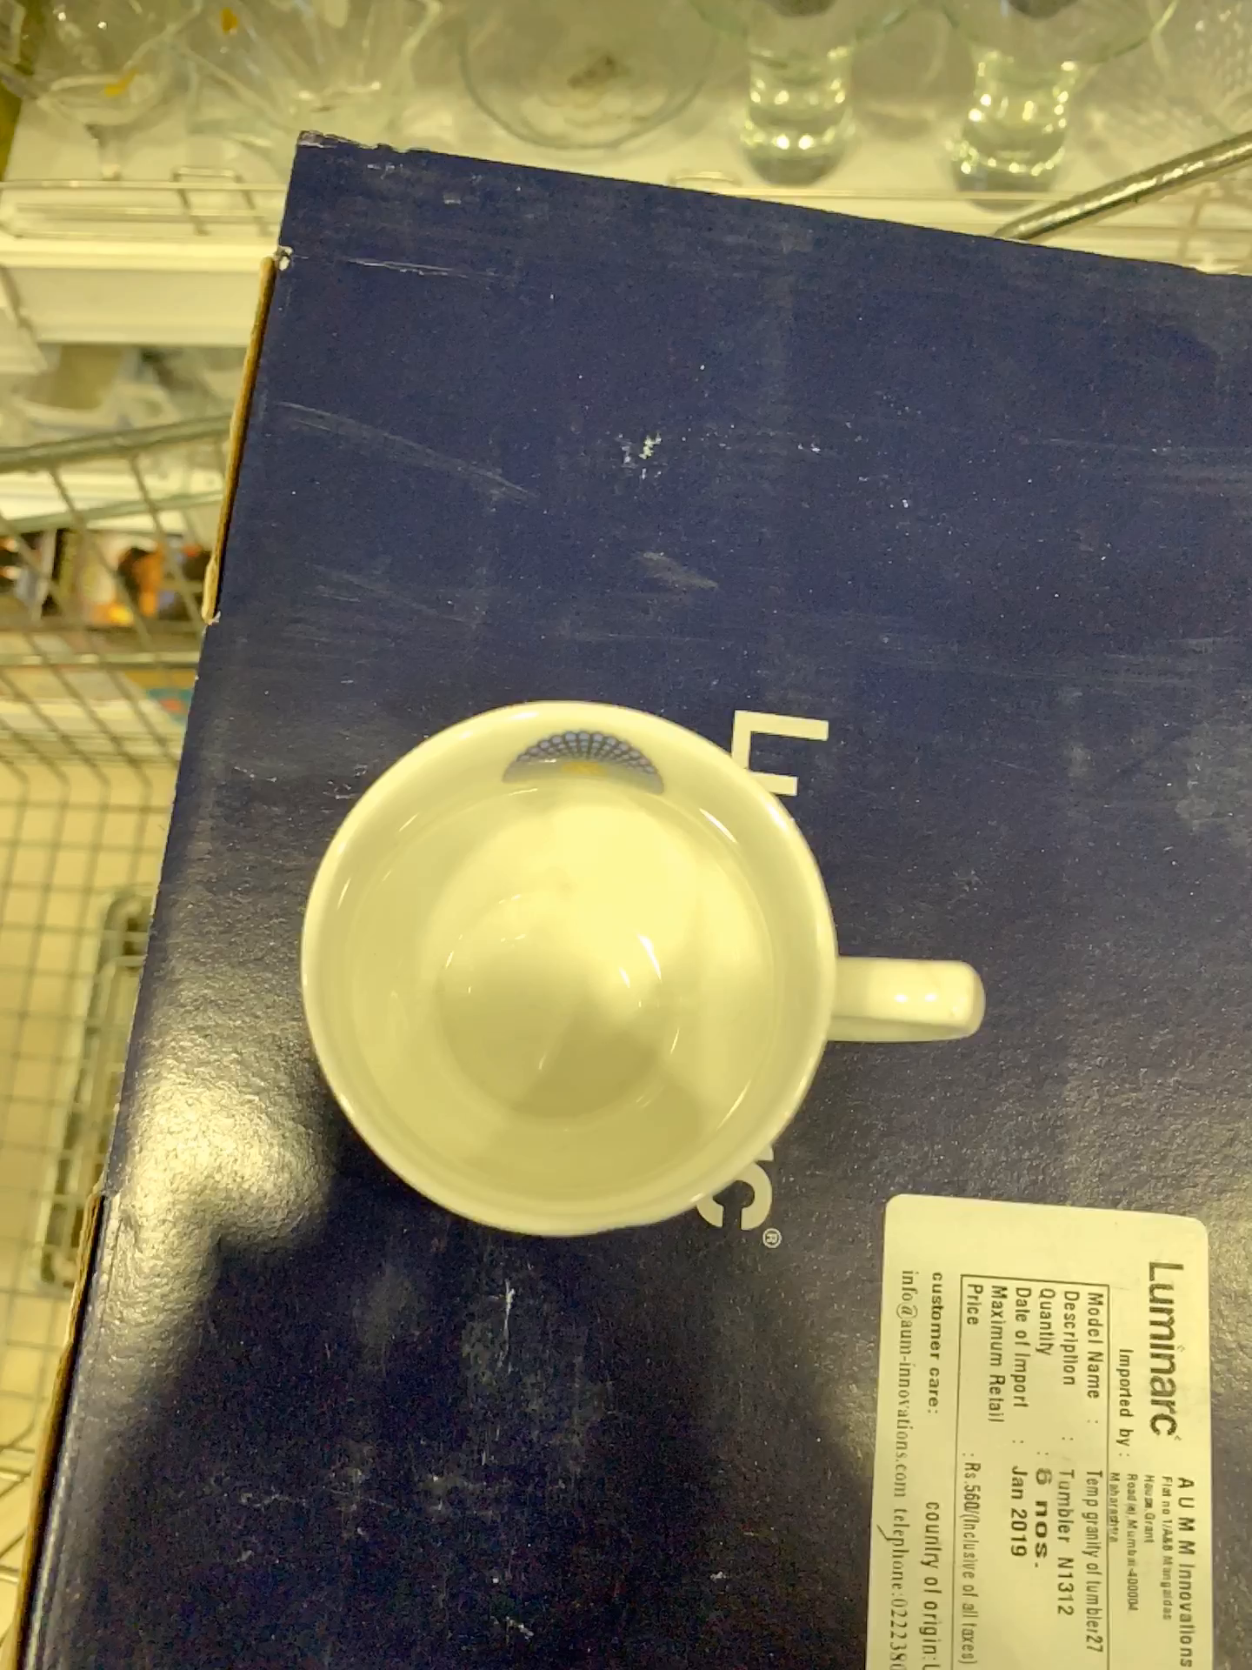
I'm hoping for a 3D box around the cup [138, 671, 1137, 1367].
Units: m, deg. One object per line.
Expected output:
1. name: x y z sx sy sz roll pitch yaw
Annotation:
1. cup: 0.002 0.022 0.148 0.090 0.050 0.060 4 77 -2
